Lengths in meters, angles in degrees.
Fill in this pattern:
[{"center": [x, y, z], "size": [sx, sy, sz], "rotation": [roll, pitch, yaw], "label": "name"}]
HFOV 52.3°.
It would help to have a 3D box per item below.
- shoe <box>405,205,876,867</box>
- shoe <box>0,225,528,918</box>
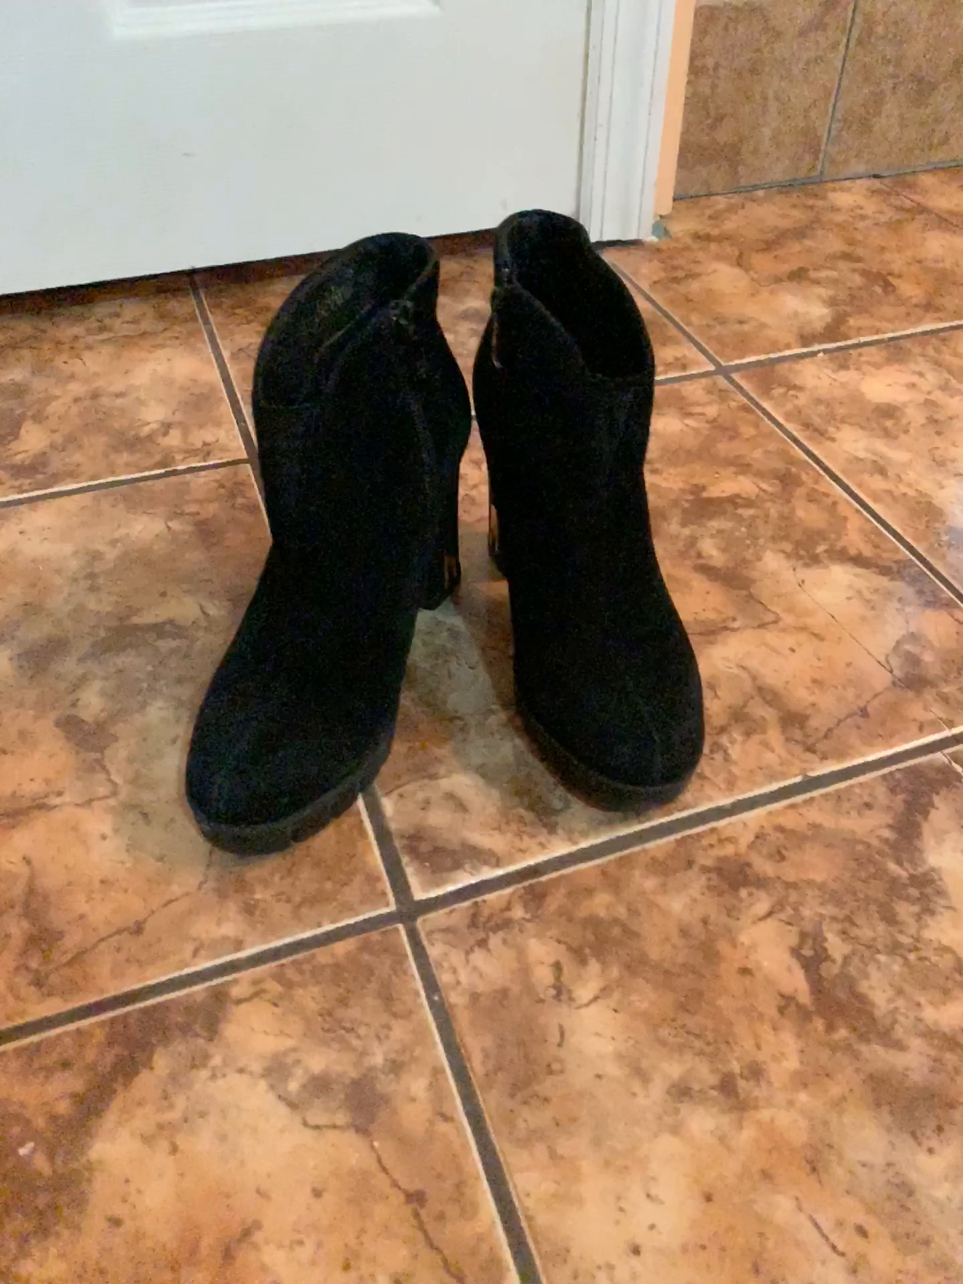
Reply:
[{"center": [0.045, -0.057, 0.437], "size": [0.094, 0.180, 0.230], "rotation": [-12, 44, -12], "label": "shoe"}, {"center": [-0.063, -0.041, 0.421], "size": [0.094, 0.180, 0.230], "rotation": [14, 45, 15], "label": "shoe"}]
